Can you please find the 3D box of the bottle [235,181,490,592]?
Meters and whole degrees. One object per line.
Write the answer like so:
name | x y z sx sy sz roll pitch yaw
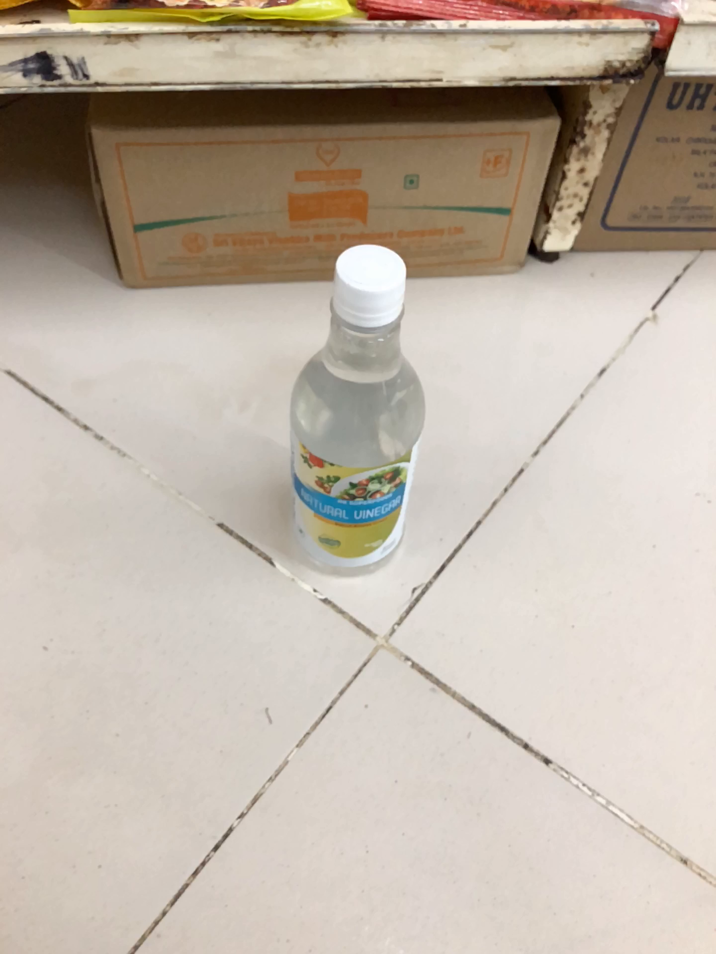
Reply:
bottle | 0.000 -0.036 0.427 0.090 0.199 0.091 2 54 -3
